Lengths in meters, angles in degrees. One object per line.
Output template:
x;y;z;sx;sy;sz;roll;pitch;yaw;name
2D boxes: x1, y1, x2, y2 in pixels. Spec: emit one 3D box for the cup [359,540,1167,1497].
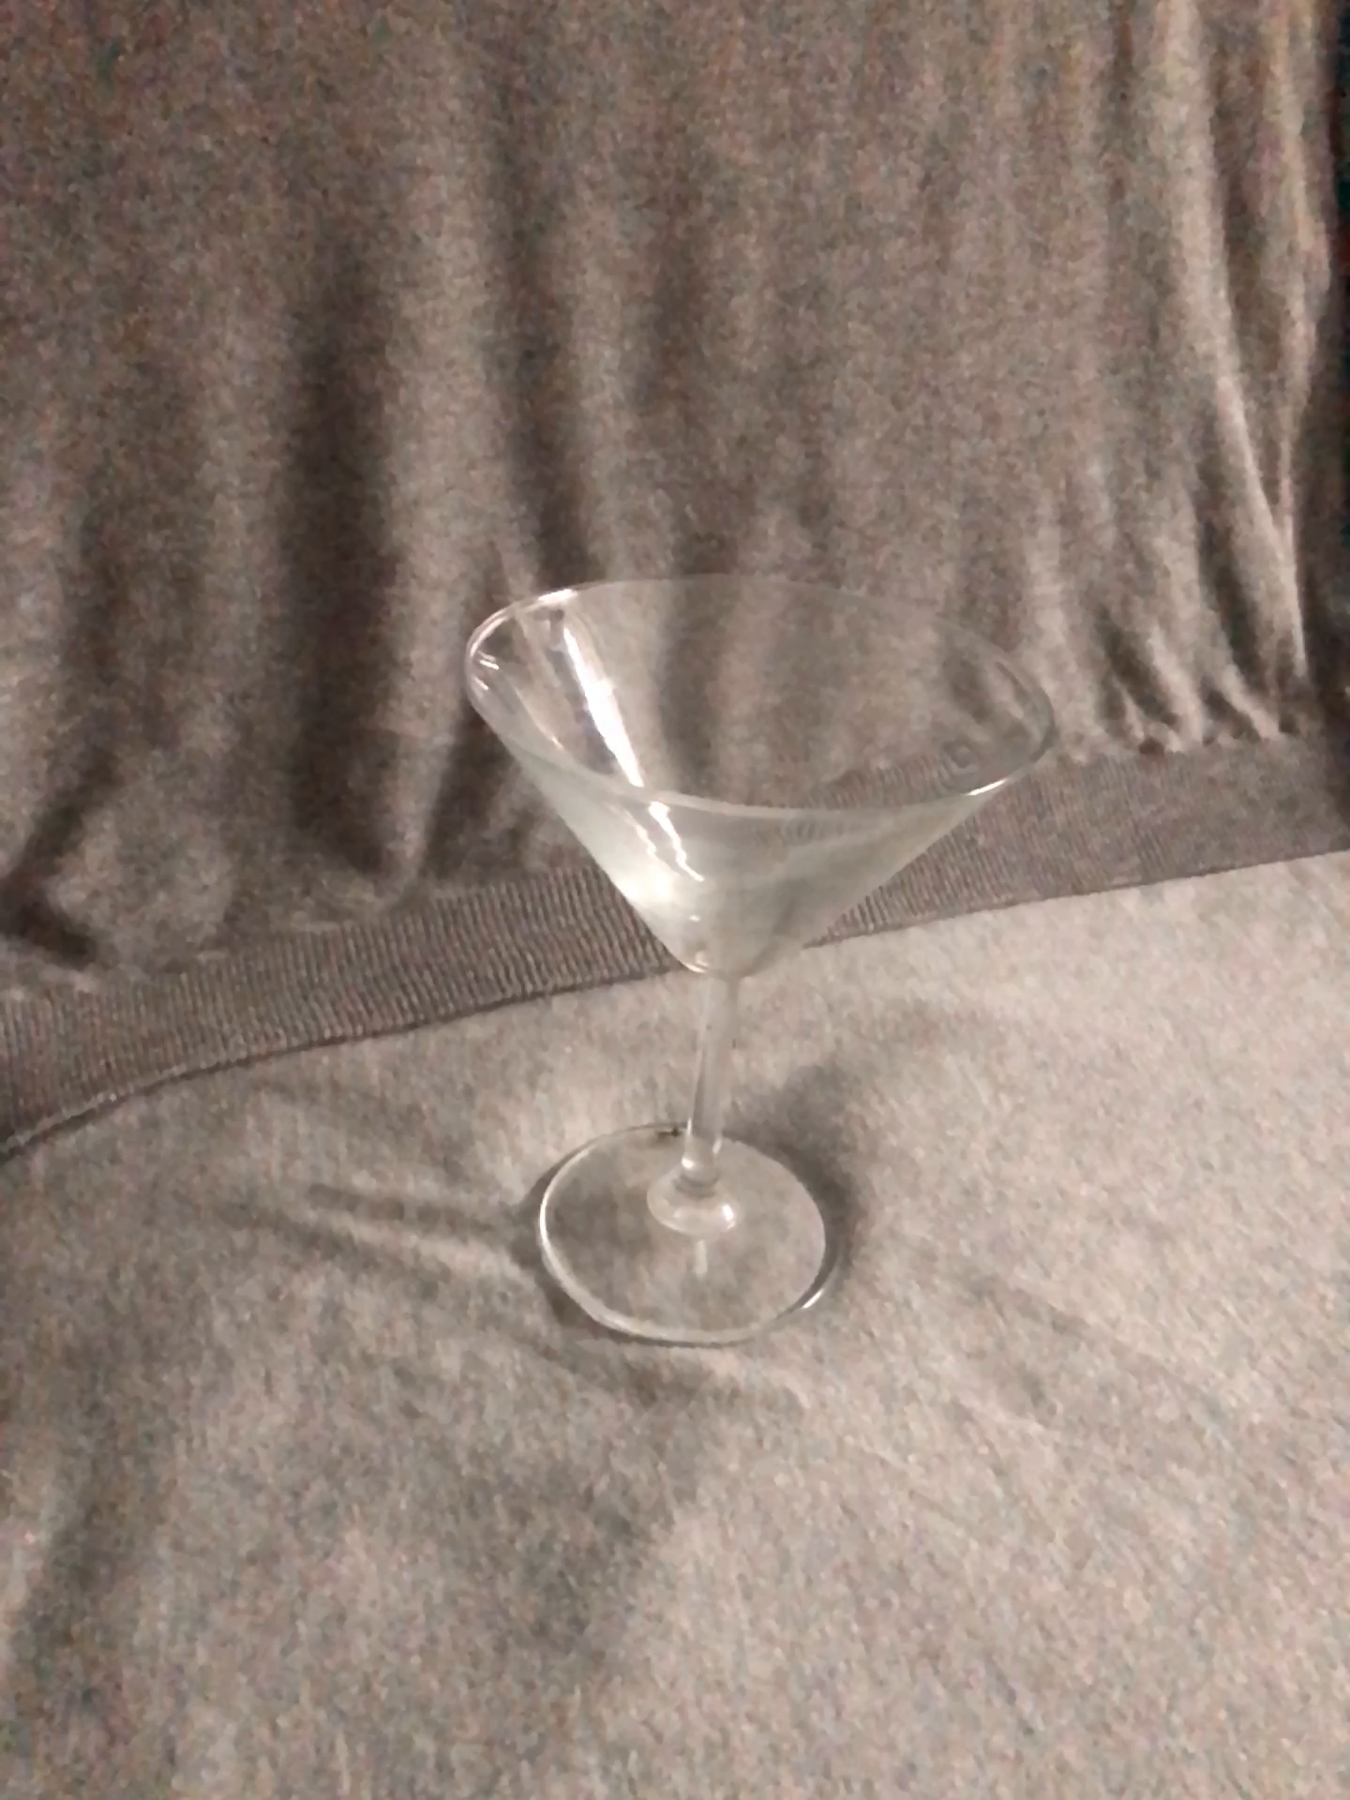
0.002;0.019;0.322;0.113;0.157;0.112;7;32;-4;cup
